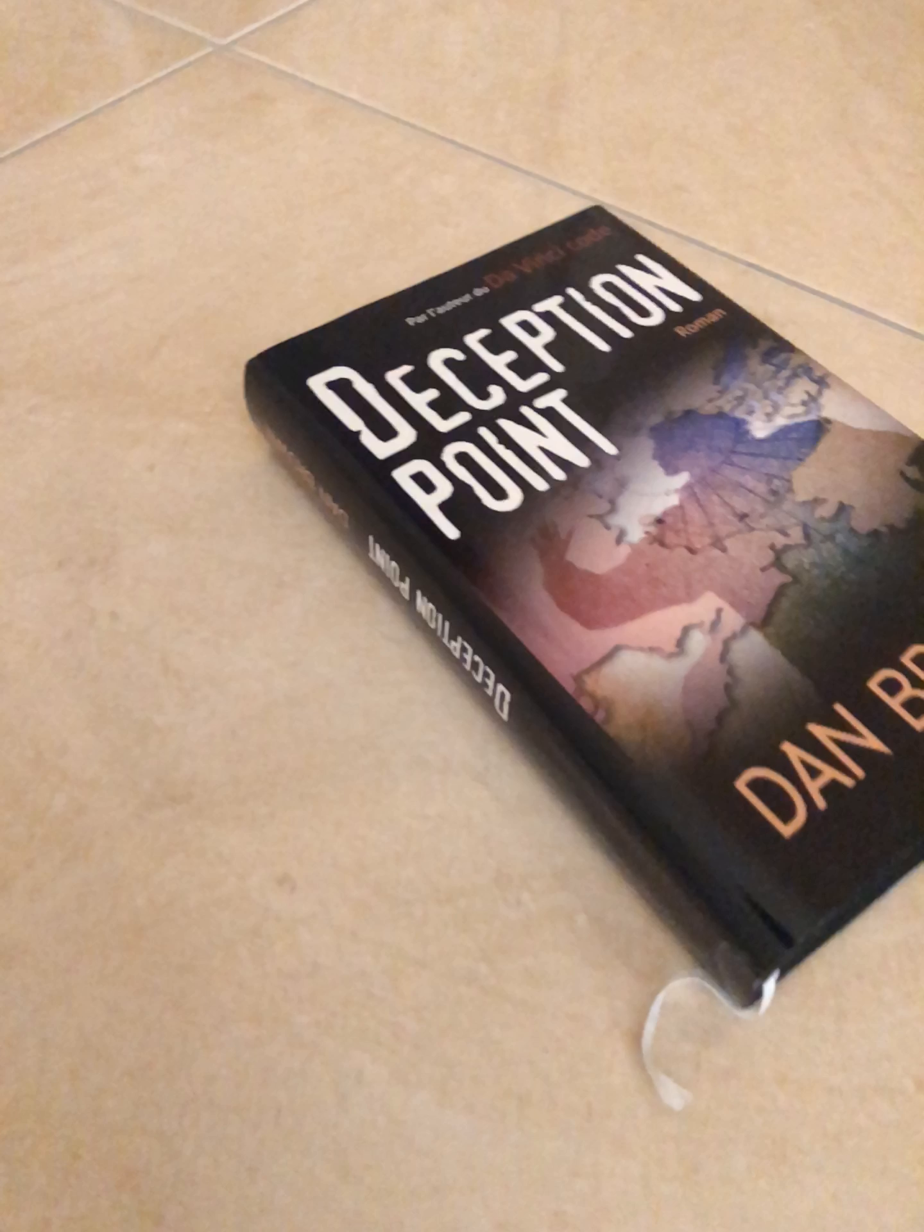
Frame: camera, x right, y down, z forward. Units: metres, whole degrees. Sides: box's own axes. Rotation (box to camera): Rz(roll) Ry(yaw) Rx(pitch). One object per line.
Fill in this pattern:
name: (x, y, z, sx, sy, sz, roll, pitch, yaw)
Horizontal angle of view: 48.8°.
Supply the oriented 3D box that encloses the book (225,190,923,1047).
book: (0.052, -0.024, 0.270, 0.137, 0.037, 0.212, -30, 60, -20)
